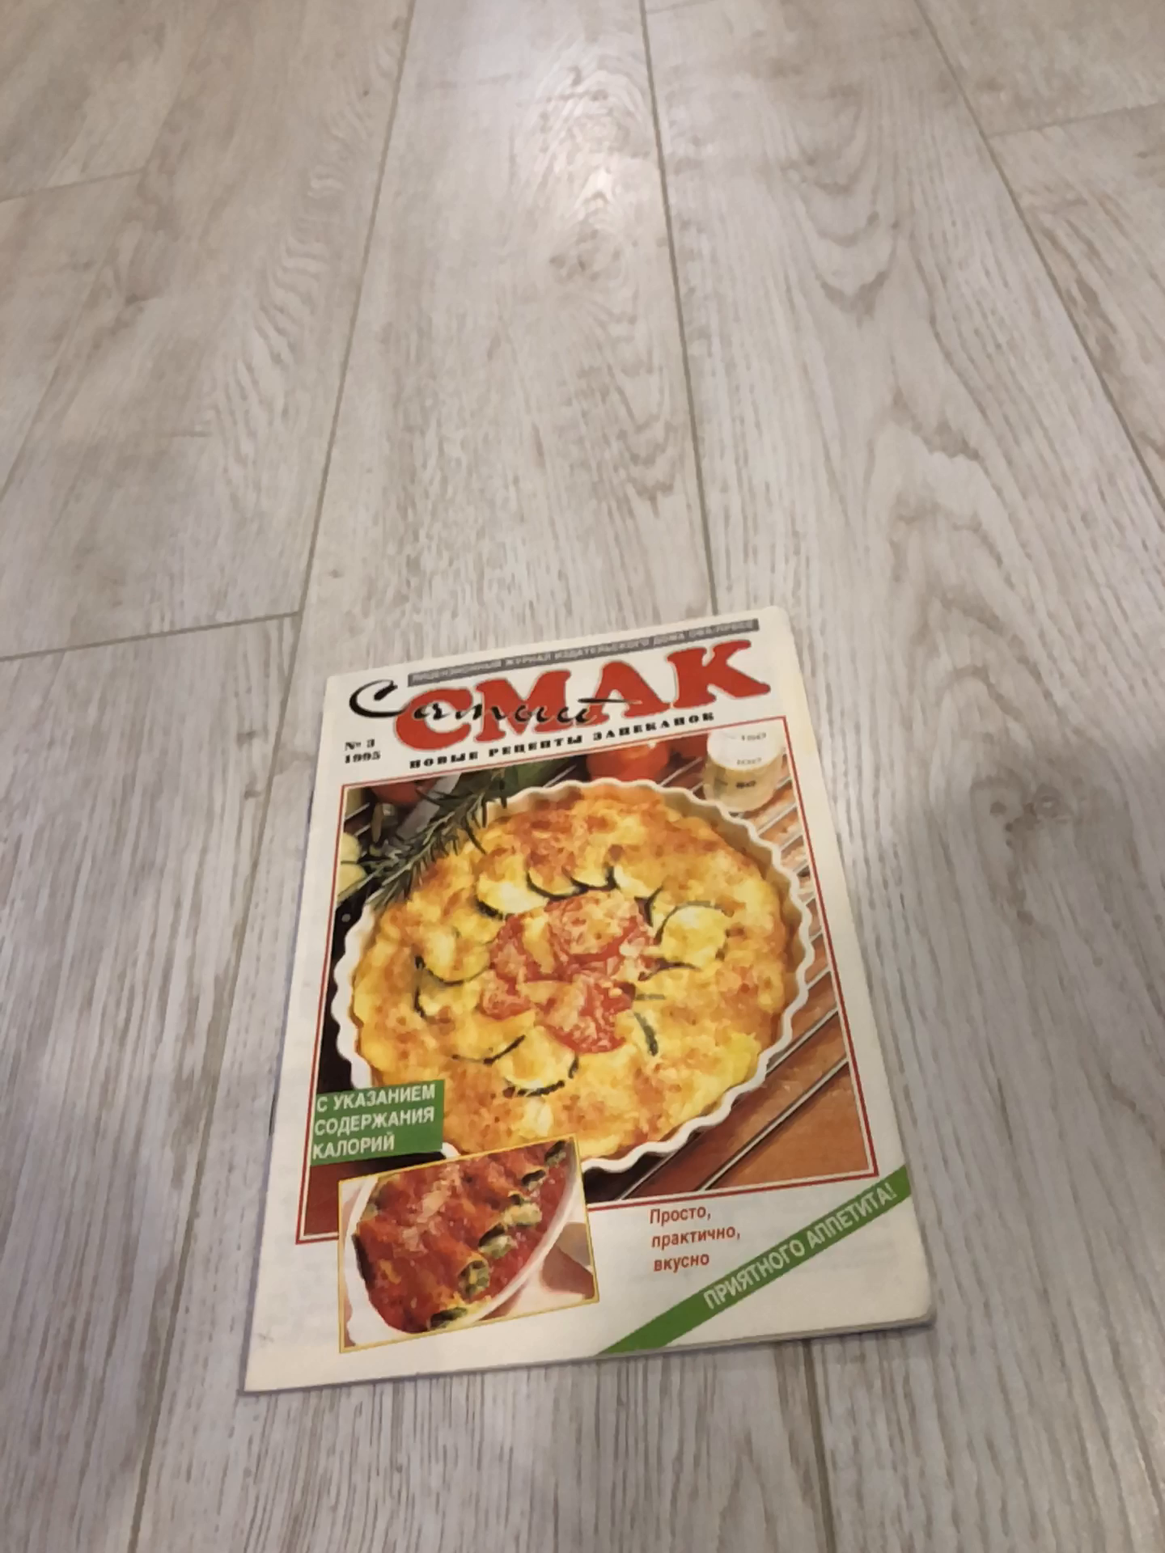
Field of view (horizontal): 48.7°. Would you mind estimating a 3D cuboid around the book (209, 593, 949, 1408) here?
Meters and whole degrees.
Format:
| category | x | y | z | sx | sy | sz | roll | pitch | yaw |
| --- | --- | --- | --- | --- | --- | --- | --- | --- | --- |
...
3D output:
| category | x | y | z | sx | sy | sz | roll | pitch | yaw |
| --- | --- | --- | --- | --- | --- | --- | --- | --- | --- |
| book | -0.006 | 0.045 | 0.365 | 0.165 | 0.020 | 0.230 | -9 | 49 | 6 |
